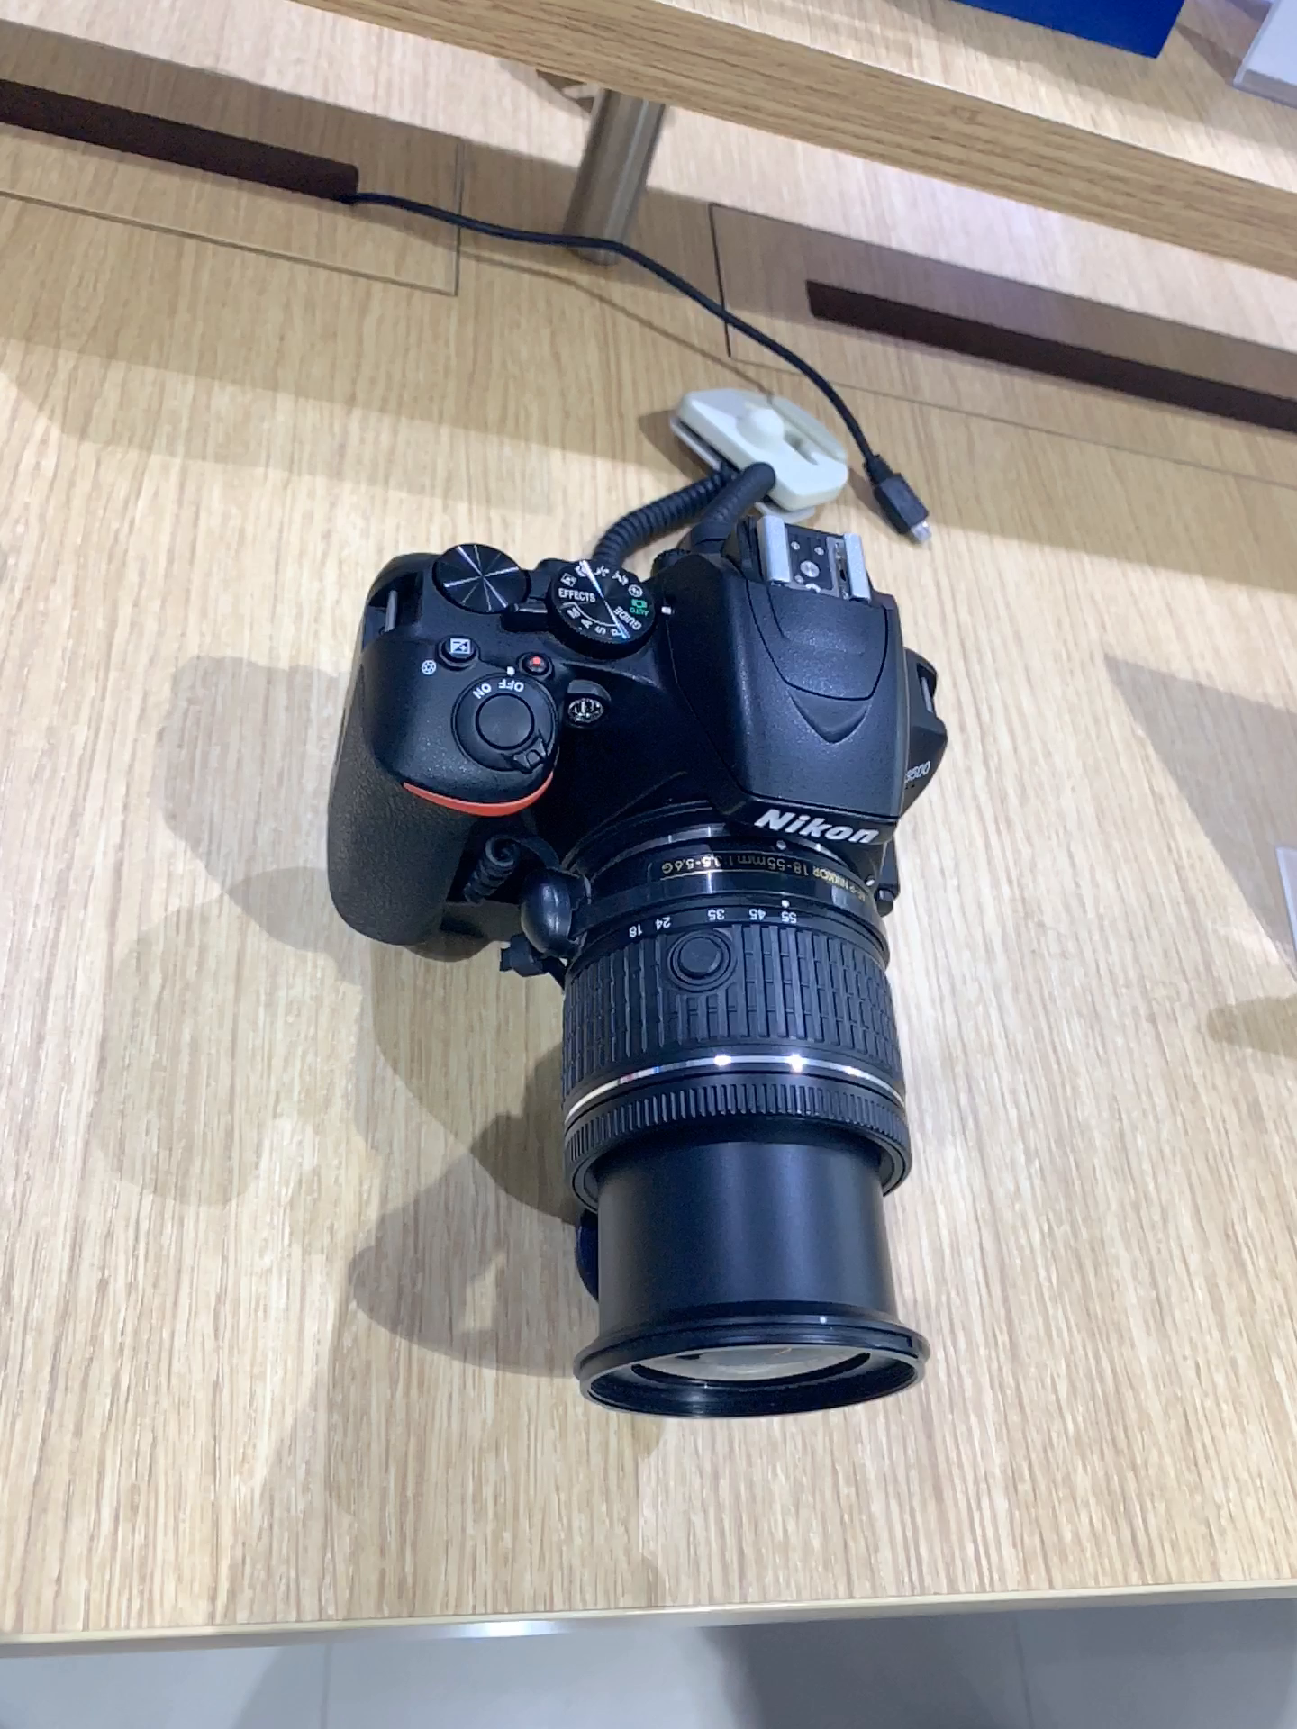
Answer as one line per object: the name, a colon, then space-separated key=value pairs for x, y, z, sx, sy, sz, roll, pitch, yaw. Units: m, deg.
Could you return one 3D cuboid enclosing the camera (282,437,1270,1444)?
camera: x=0.007 y=0.020 z=0.228 sx=0.117 sy=0.095 sz=0.131 roll=6 pitch=57 yaw=-16
